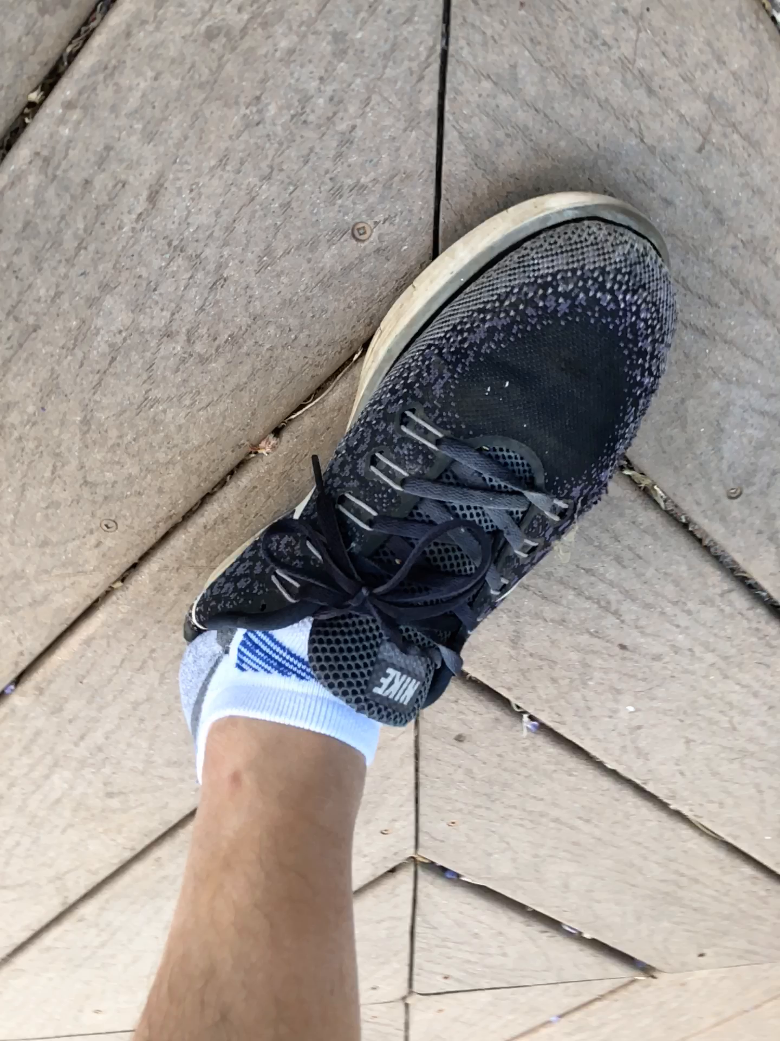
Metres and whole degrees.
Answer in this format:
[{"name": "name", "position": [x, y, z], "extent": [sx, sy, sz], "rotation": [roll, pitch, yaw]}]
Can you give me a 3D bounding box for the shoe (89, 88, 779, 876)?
[{"name": "shoe", "position": [0.007, 0.004, 0.361], "extent": [0.130, 0.100, 0.301], "rotation": [27, 116, -23]}]
